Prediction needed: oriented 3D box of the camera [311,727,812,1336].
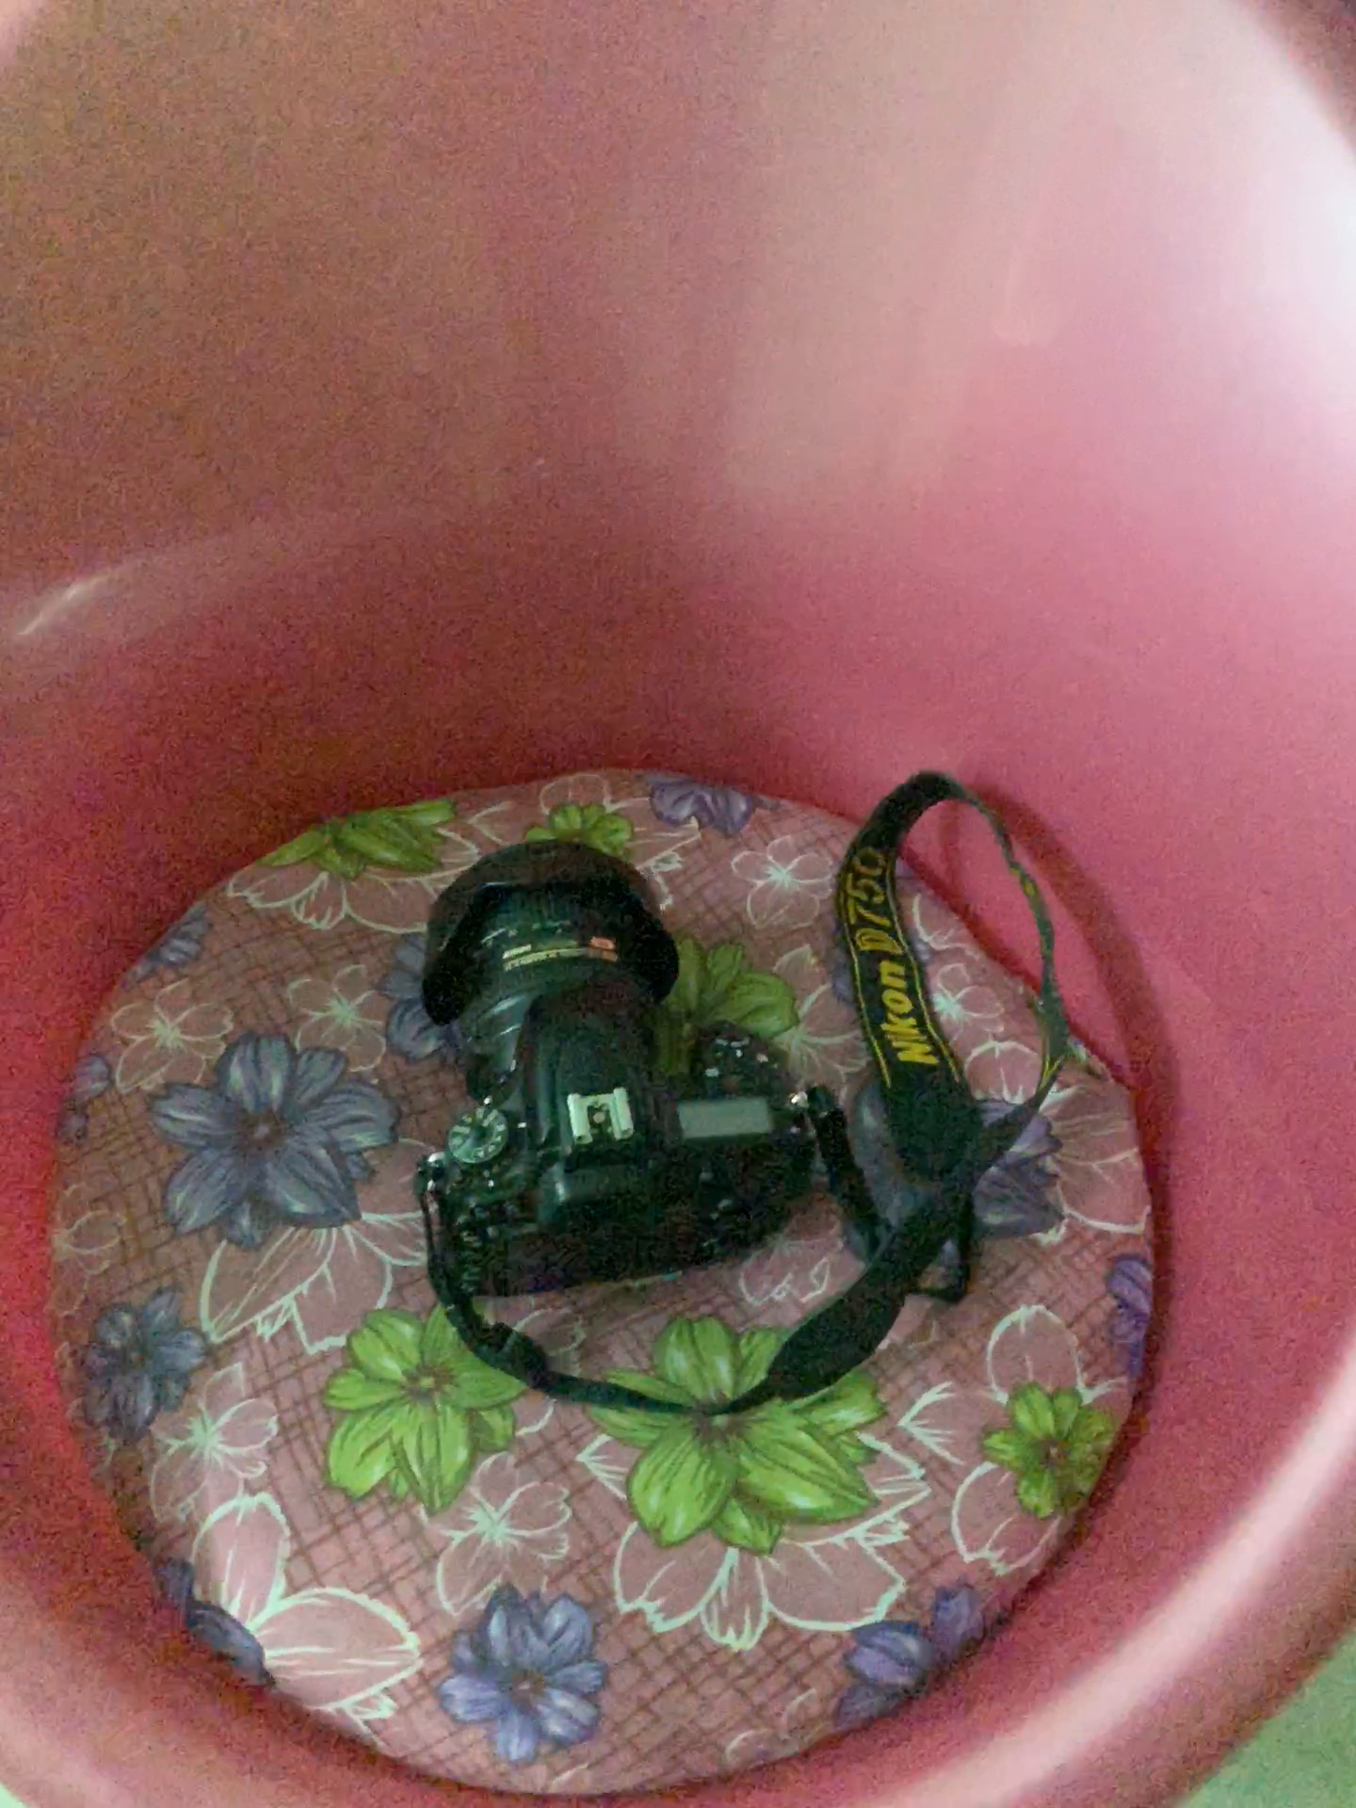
[{"bbox_3d":[-0.053,0.051,0.573,0.166,0.130,0.192,-7,57,-6],"label":"camera"}]
